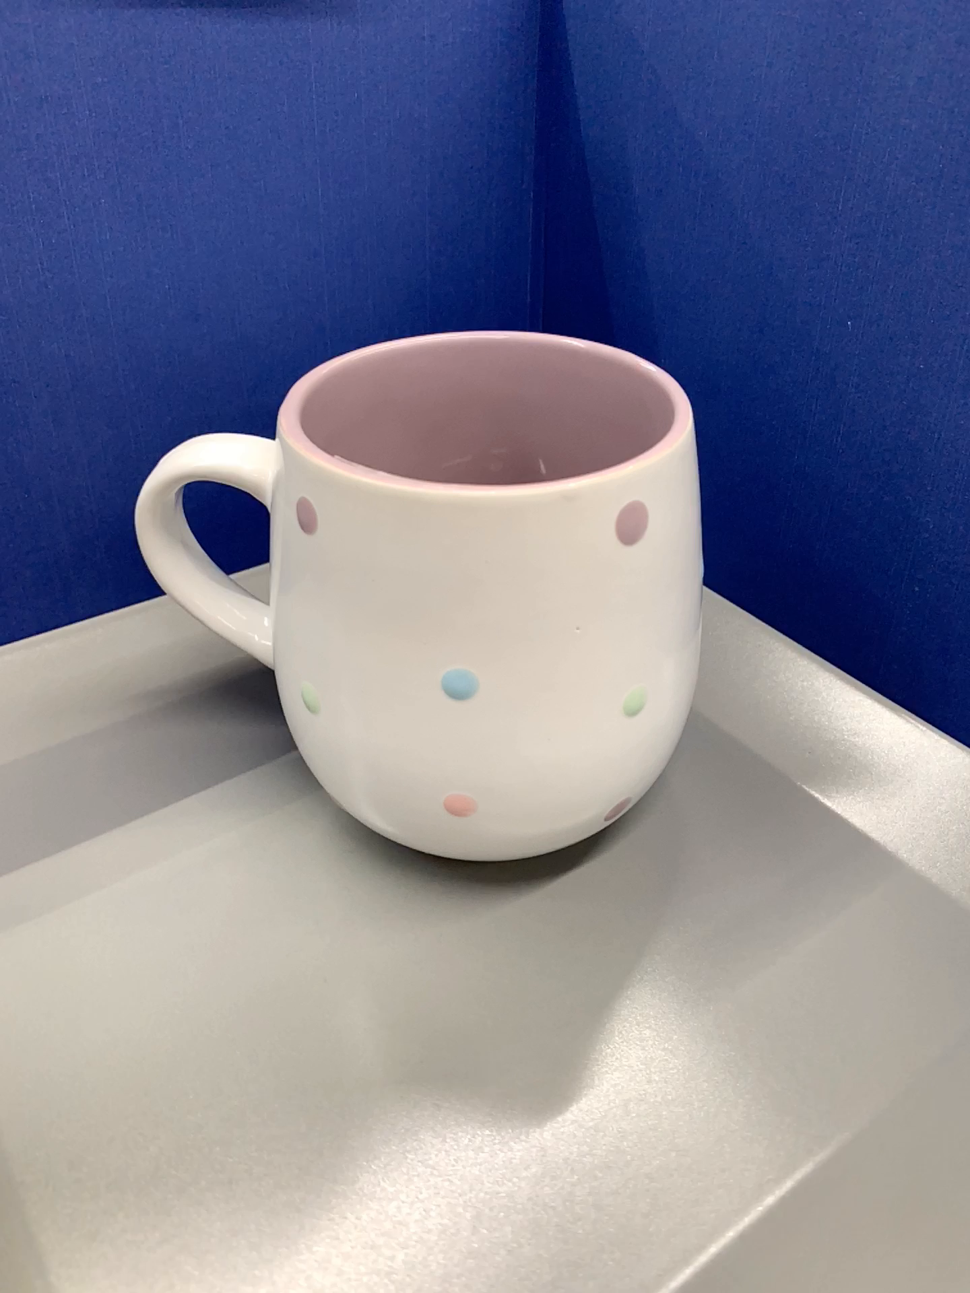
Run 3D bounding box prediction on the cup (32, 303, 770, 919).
[{"bbox_3d":[-0.011,-0.018,0.240,0.130,0.088,0.097,12,34,16],"label":"cup"}]
